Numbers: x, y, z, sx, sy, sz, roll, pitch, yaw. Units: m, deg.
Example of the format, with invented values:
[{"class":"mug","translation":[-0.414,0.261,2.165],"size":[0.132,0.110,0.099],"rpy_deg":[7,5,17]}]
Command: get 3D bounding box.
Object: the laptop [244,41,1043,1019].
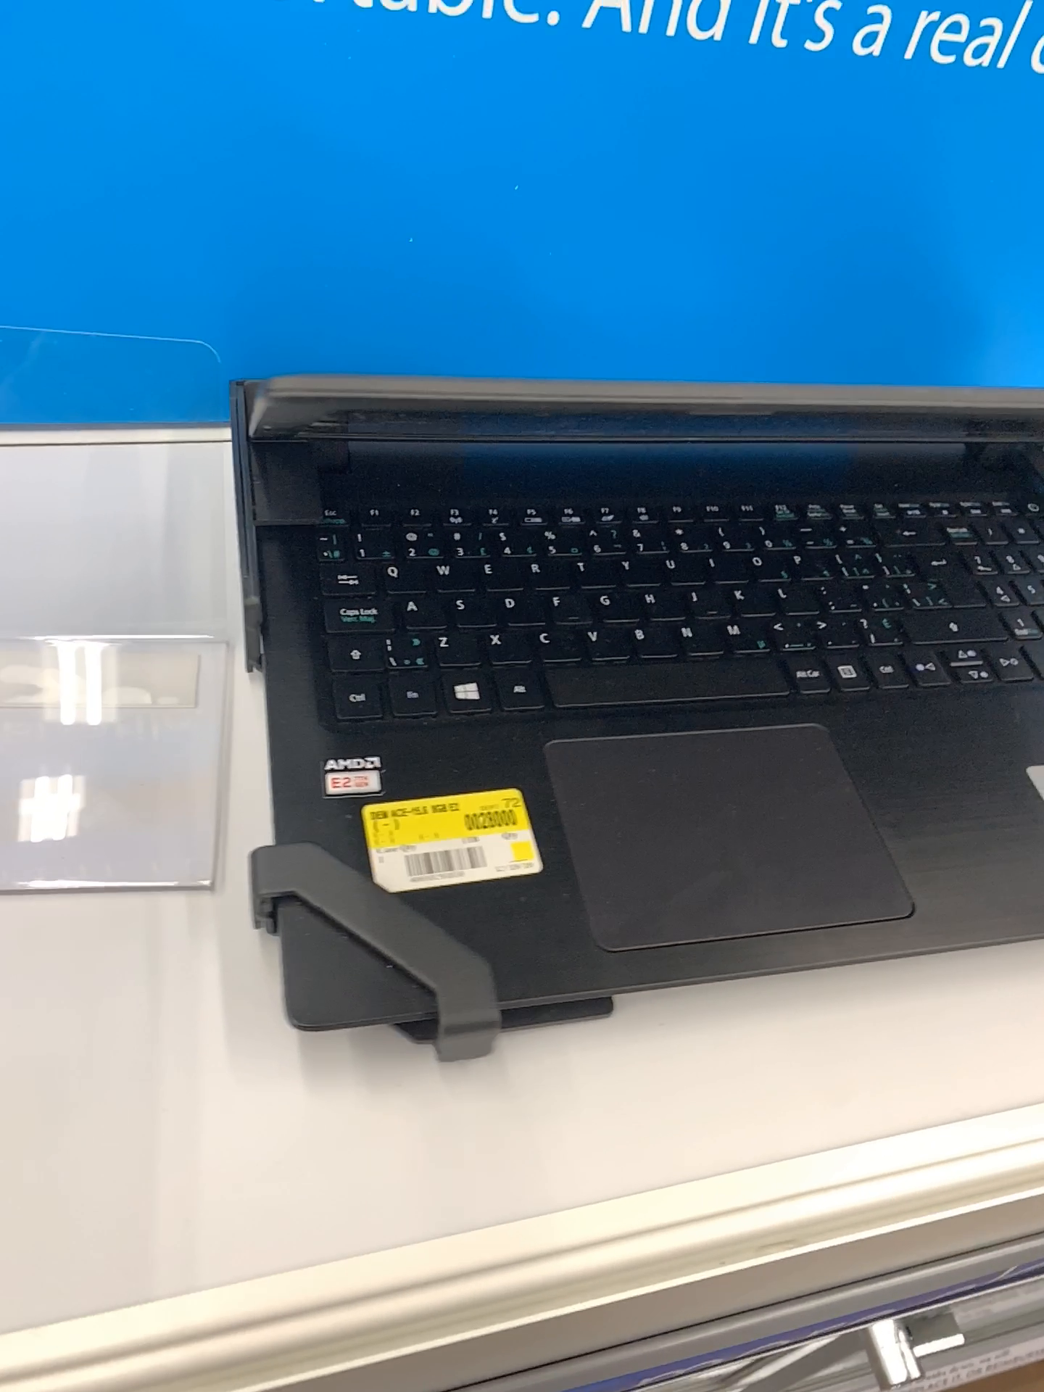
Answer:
[{"class":"laptop","translation":[0.107,-0.059,0.341],"size":[0.364,0.137,0.222],"rpy_deg":[-3,53,-15]}]
